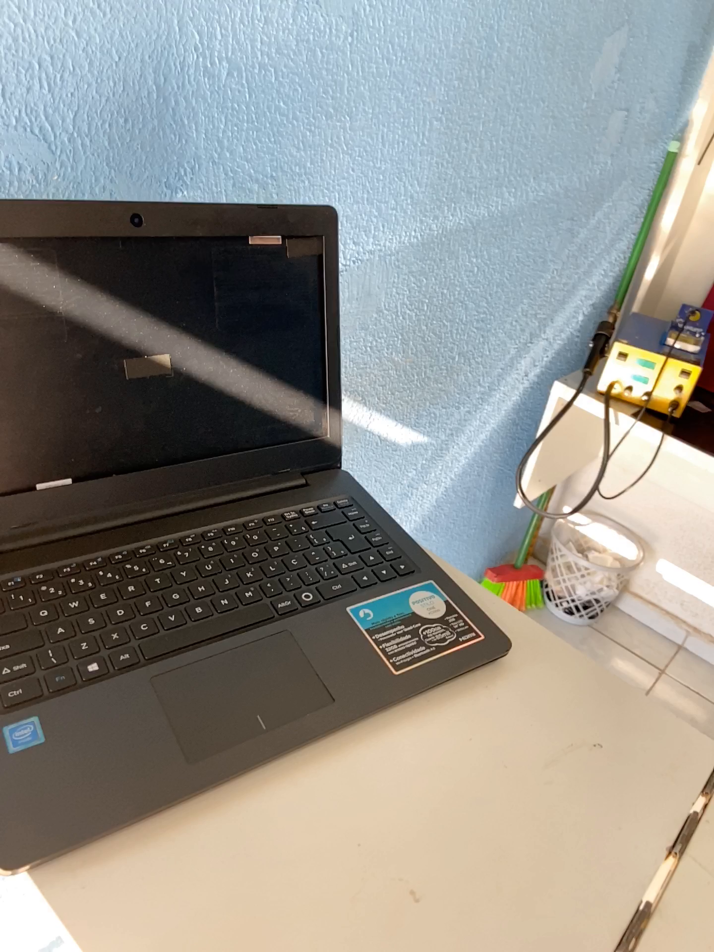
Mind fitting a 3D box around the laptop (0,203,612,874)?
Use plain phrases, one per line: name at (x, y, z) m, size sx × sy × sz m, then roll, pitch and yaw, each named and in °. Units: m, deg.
laptop at (-0.093, -0.020, 0.480) m, size 0.339 × 0.214 × 0.310 m, roll -13°, pitch 40°, yaw -32°
